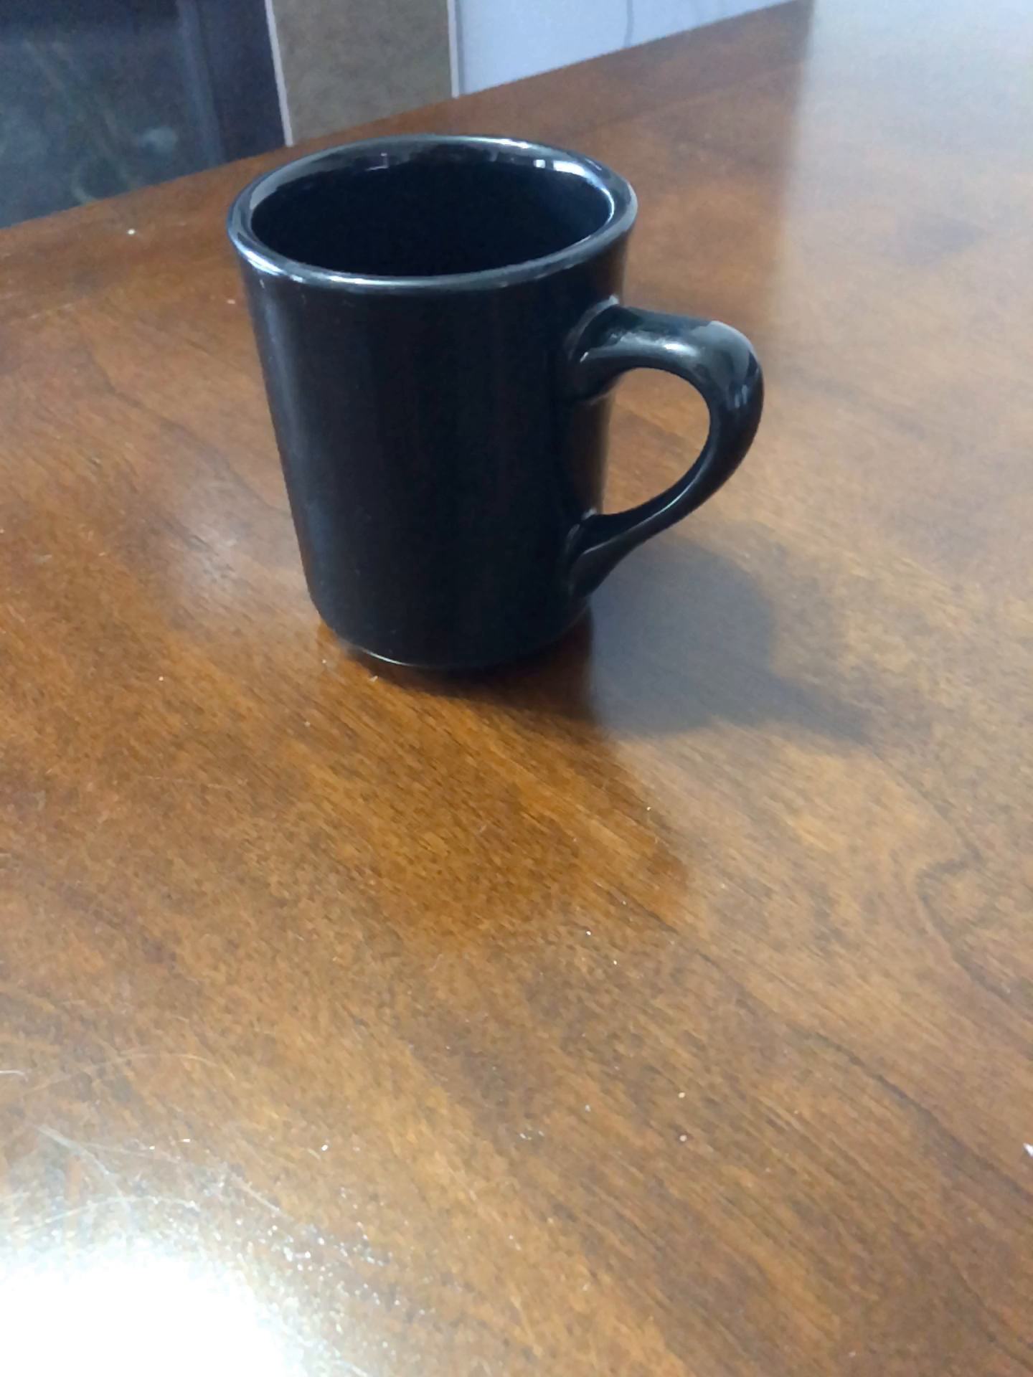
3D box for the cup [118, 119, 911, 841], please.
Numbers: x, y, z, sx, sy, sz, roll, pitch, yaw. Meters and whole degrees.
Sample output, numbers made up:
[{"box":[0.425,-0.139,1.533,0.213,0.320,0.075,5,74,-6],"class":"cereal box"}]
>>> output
[{"box":[0.000,-0.052,0.249,0.120,0.090,0.090,27,50,27],"class":"cup"}]
